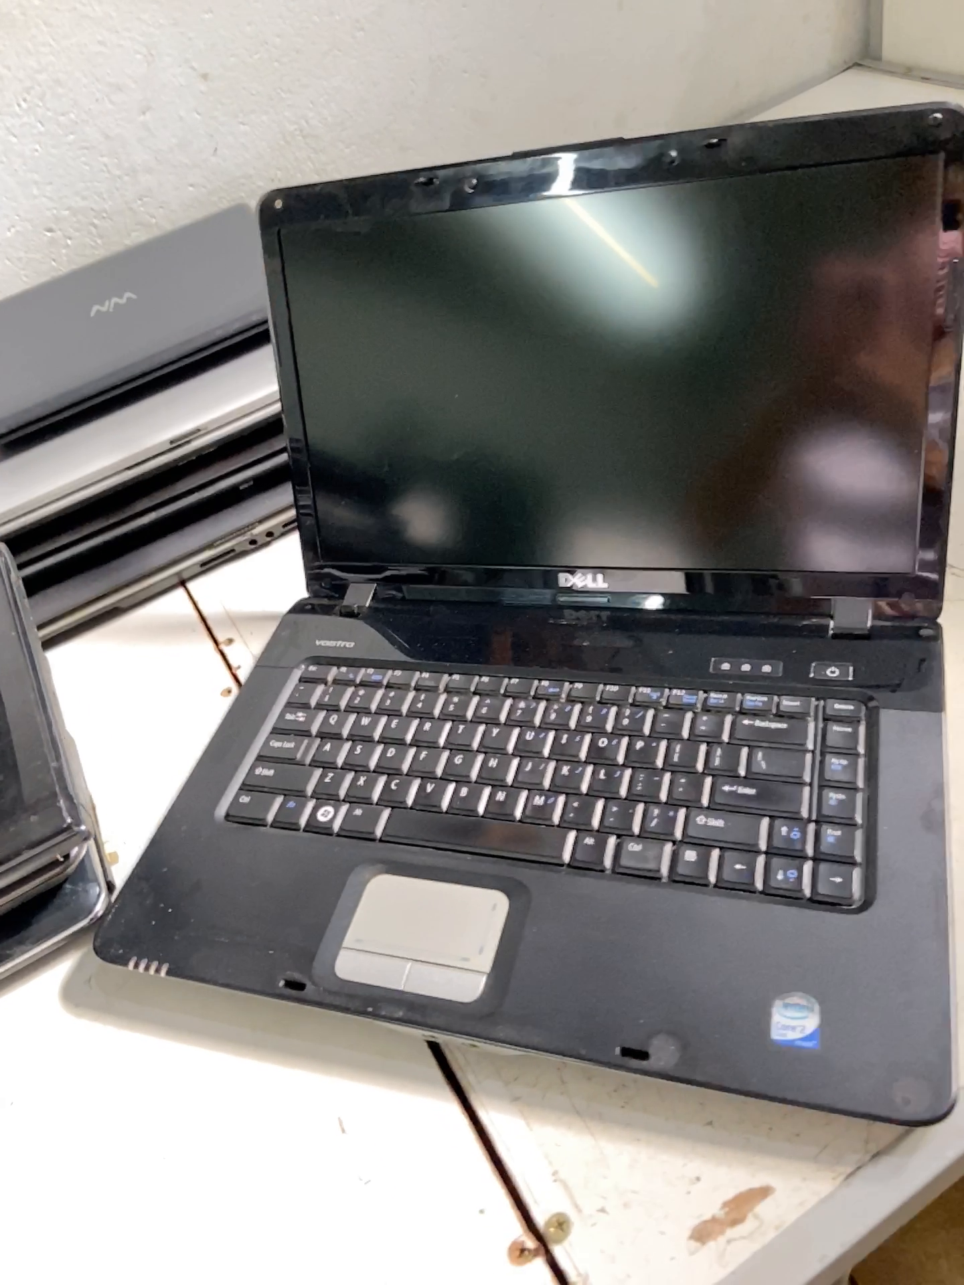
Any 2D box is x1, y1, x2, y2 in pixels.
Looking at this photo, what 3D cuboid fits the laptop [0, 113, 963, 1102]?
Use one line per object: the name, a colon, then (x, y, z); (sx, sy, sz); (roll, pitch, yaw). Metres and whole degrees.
laptop: (0.015, -0.044, 0.453); (0.365, 0.203, 0.354); (3, 45, 22)
